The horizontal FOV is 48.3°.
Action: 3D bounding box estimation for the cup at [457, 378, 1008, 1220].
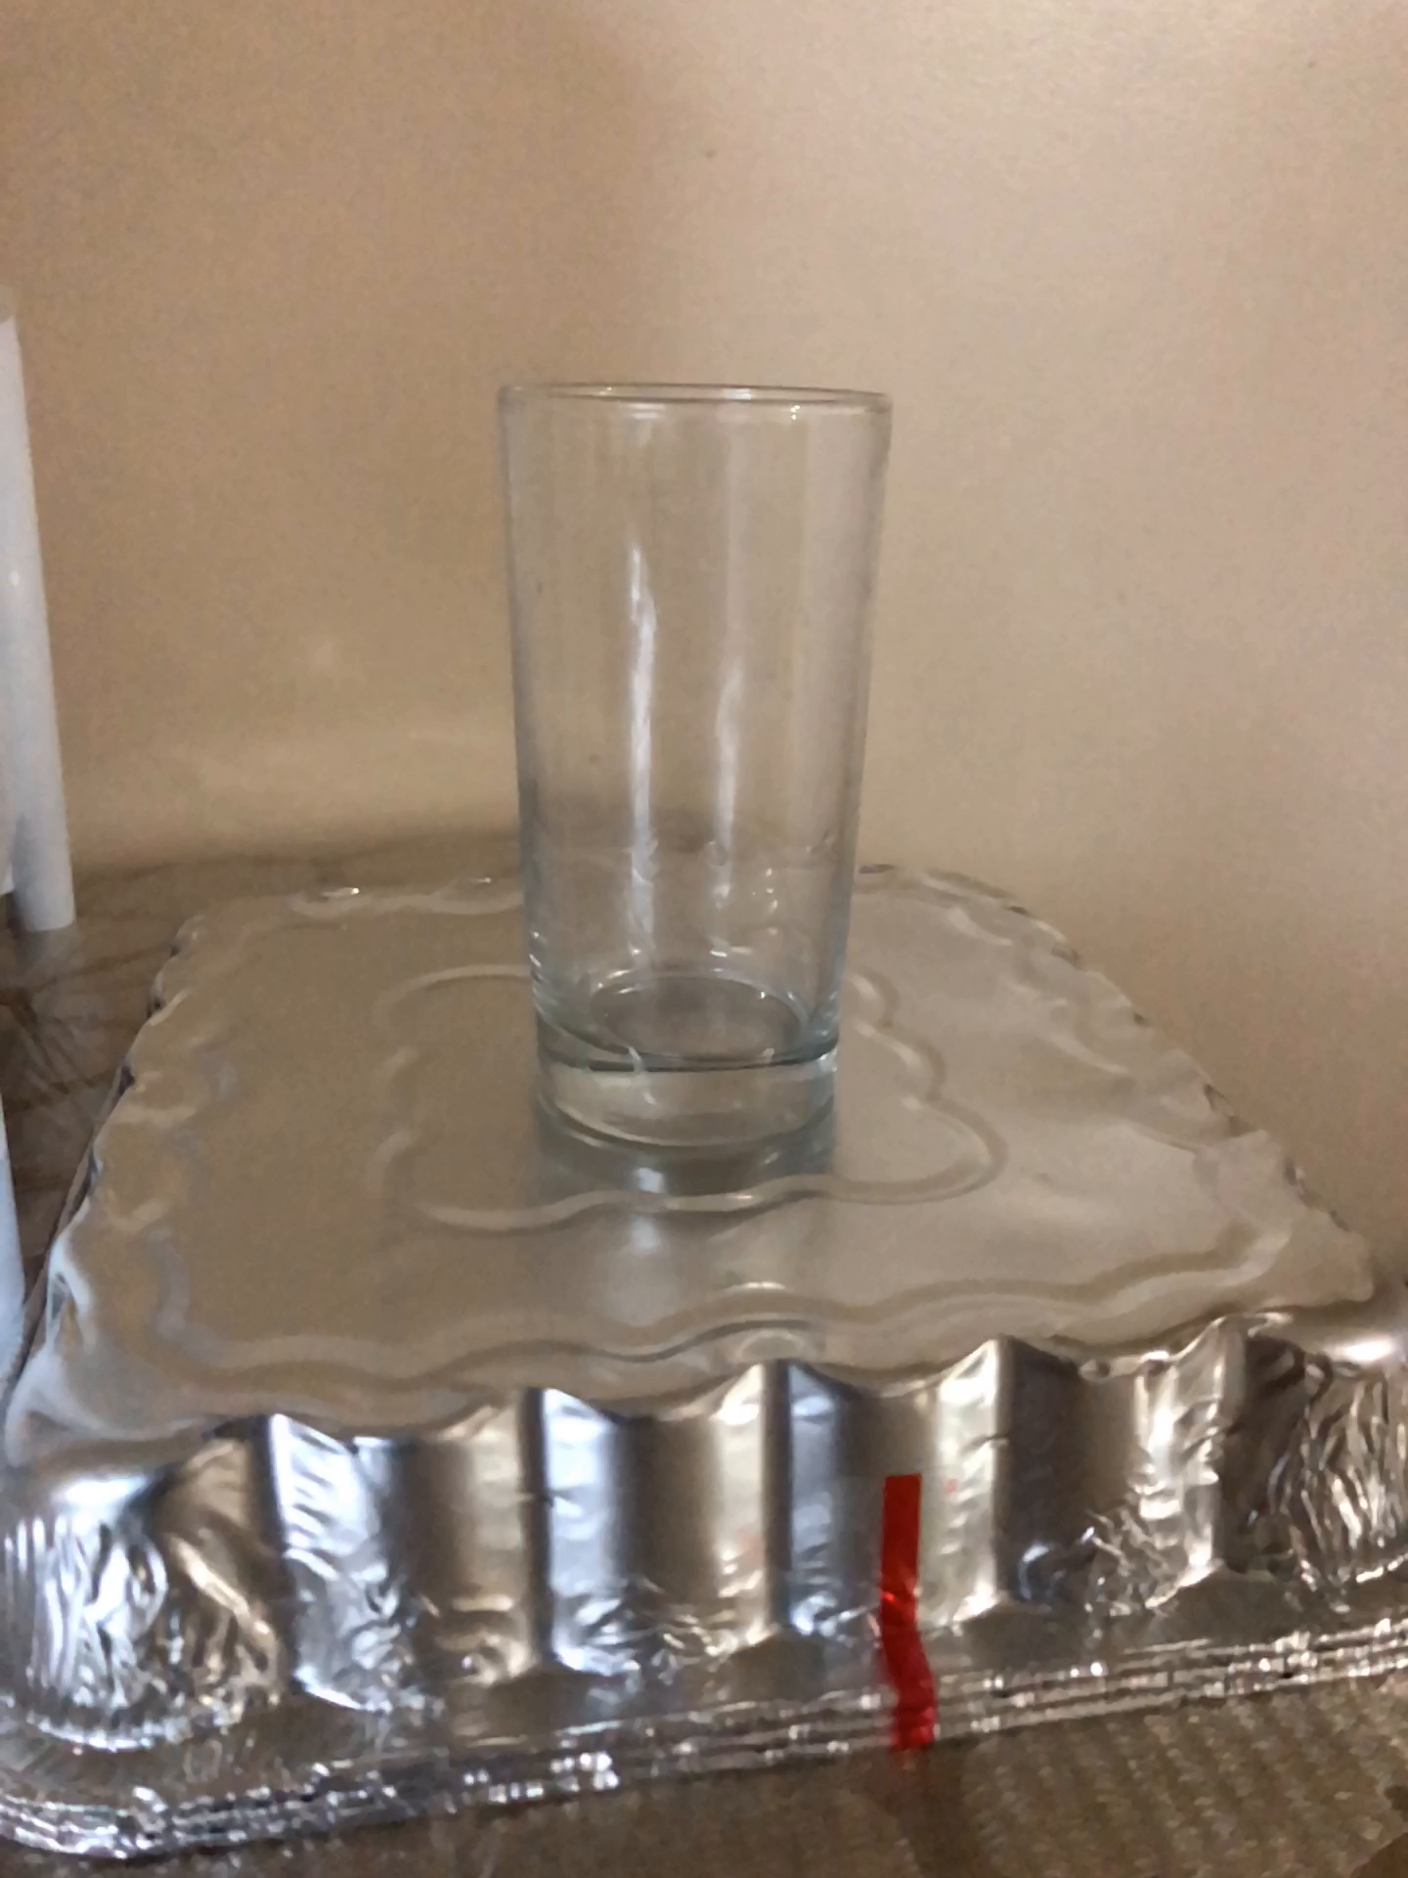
[{"bbox_3d":[0.001,-0.028,0.261,0.060,0.119,0.060,3,21,-1],"label":"cup"}]
